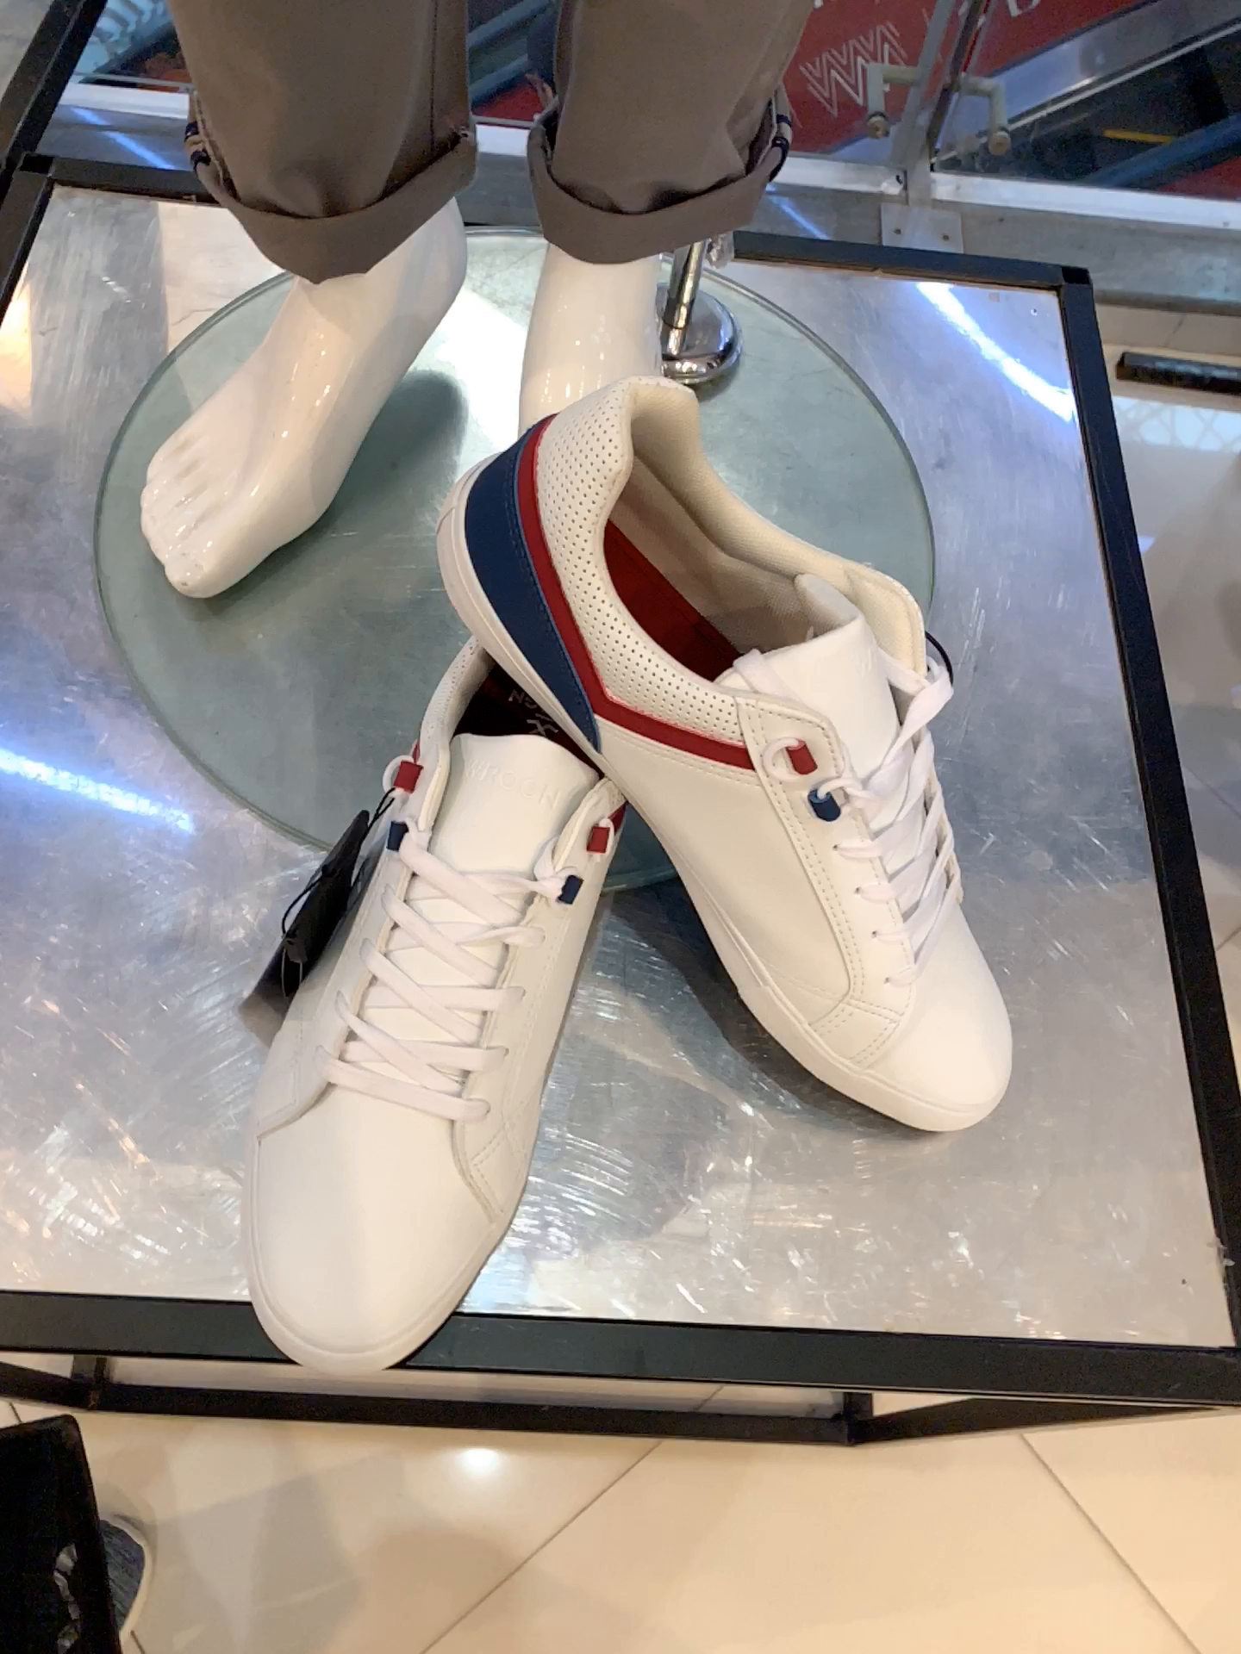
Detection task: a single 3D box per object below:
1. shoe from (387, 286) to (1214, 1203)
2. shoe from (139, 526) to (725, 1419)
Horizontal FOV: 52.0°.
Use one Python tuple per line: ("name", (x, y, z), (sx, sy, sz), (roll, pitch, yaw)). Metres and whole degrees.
("shoe", (0.055, -0.021, 0.429), (0.100, 0.100, 0.280), (-36, 90, -30))
("shoe", (-0.057, 0.046, 0.456), (0.100, 0.100, 0.281), (20, 64, -5))
